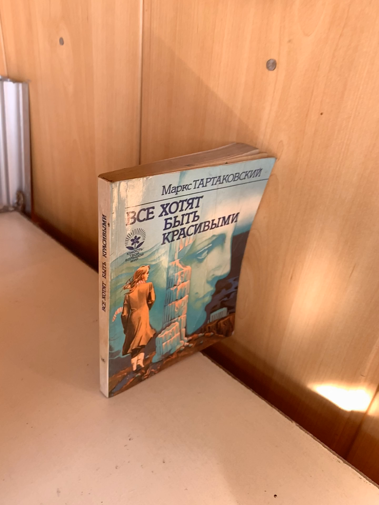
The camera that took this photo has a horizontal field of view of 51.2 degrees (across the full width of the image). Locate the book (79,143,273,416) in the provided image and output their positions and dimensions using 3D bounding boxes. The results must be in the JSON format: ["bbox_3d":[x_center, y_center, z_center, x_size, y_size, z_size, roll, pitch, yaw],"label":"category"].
[{"bbox_3d":[-0.008,0.016,0.269,0.125,0.159,0.029,-21,40,-38],"label":"book"}]
